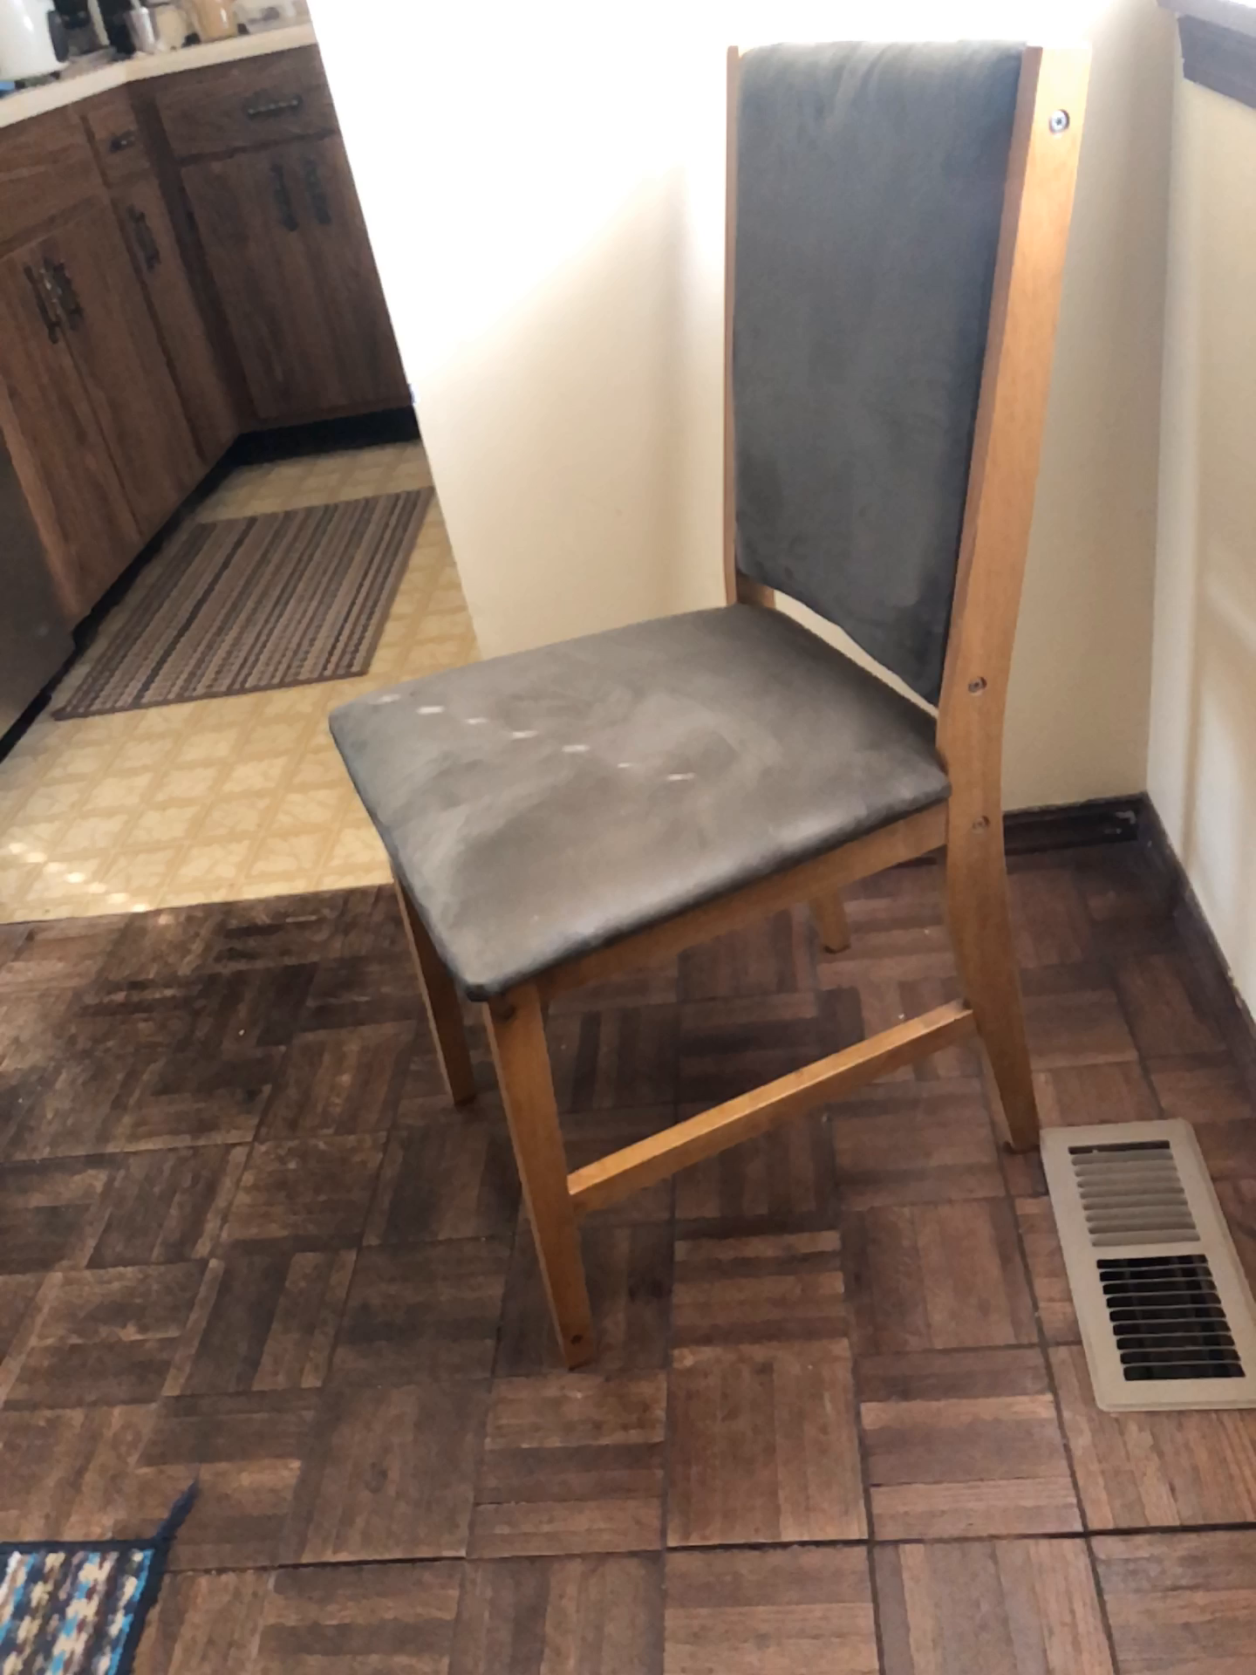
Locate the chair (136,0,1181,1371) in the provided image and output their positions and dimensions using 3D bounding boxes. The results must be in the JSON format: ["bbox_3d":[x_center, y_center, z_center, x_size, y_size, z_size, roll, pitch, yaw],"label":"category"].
[{"bbox_3d":[0.018,-0.135,1.105,0.510,0.858,0.491,-18,34,-15],"label":"chair"}]
